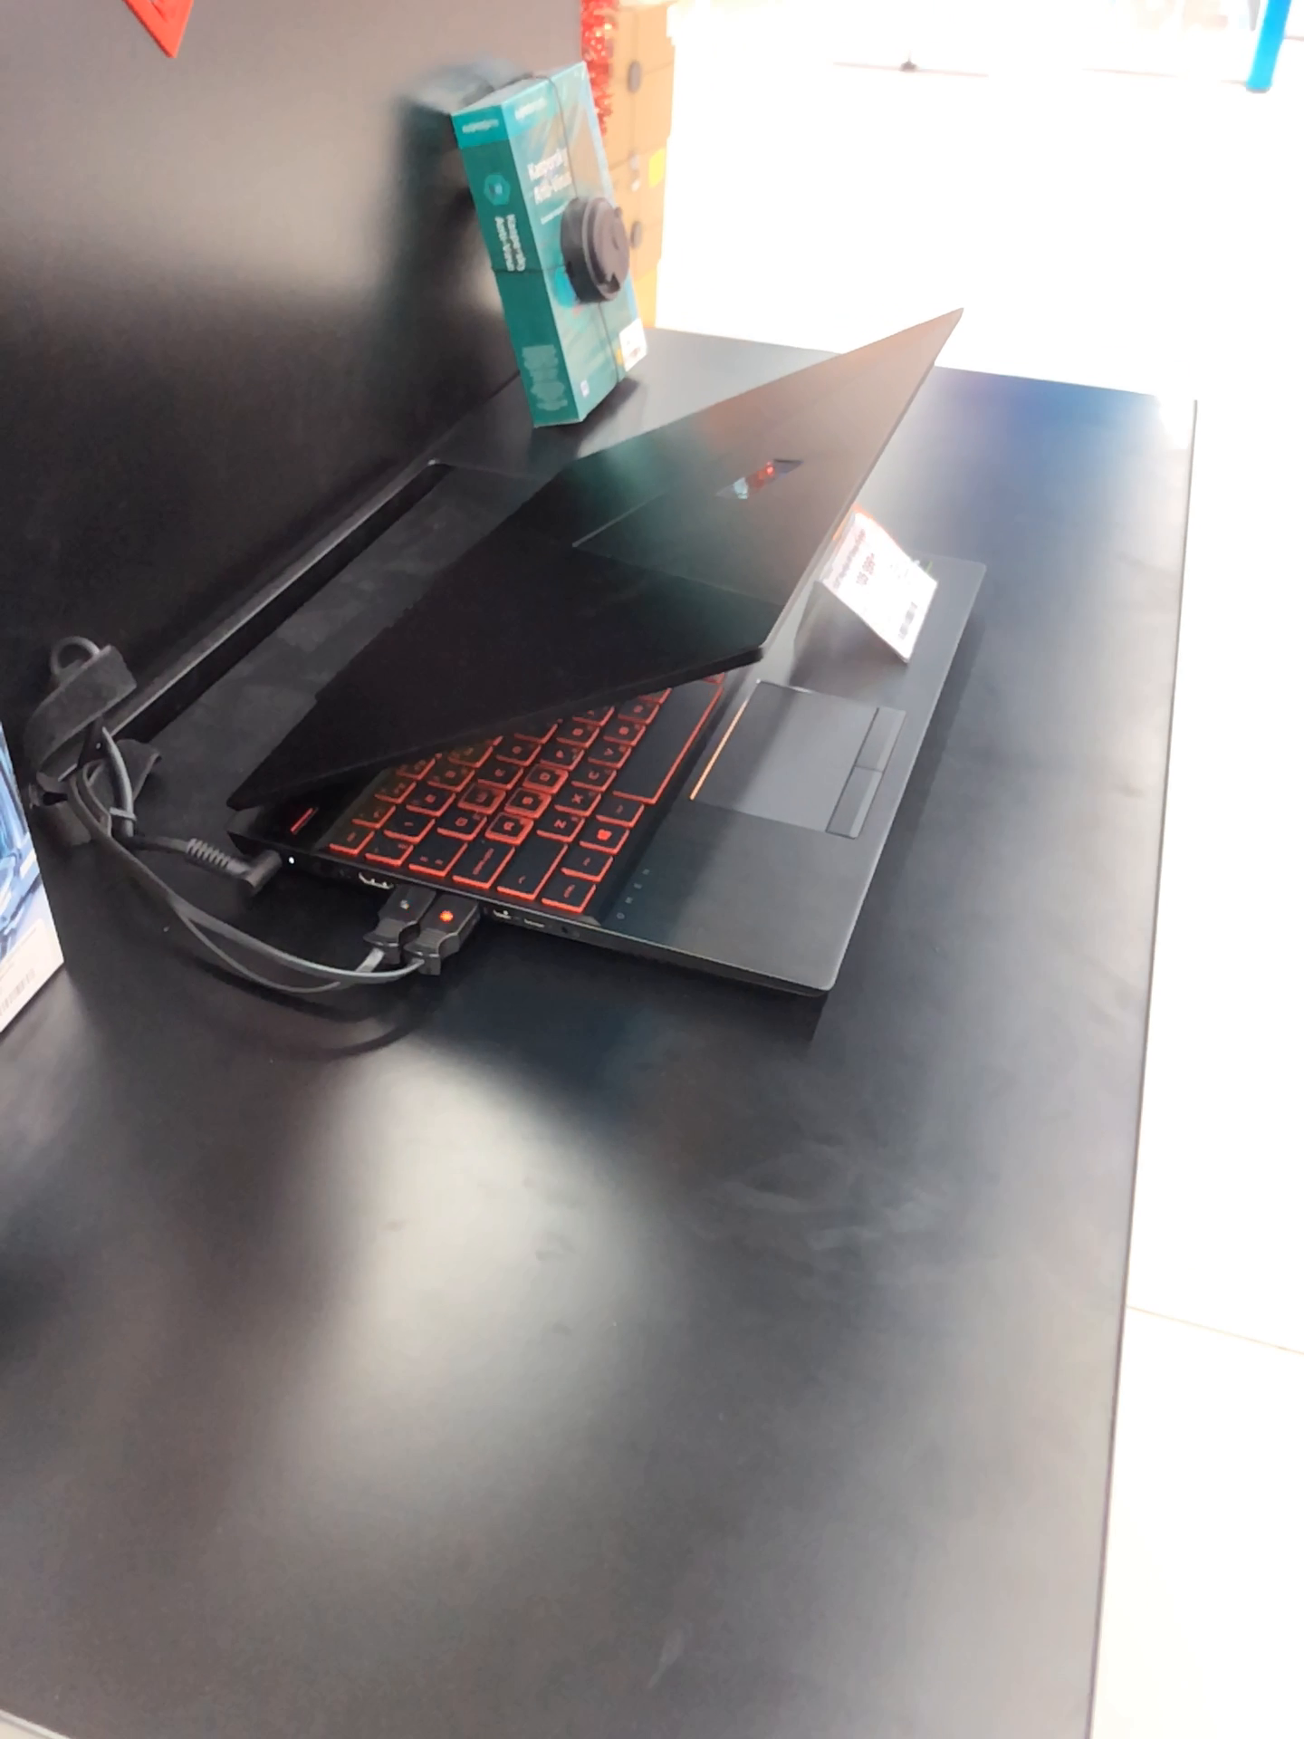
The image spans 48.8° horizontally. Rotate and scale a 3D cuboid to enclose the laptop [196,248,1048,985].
[{"bbox_3d":[0.016,-0.140,0.626,0.230,0.121,0.352,16,41,14],"label":"laptop"}]
